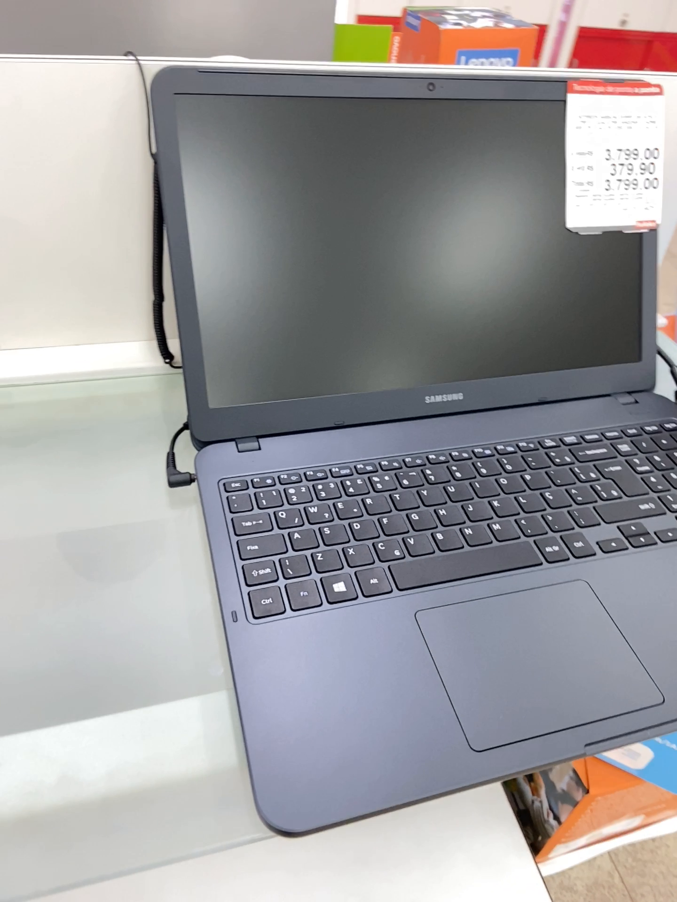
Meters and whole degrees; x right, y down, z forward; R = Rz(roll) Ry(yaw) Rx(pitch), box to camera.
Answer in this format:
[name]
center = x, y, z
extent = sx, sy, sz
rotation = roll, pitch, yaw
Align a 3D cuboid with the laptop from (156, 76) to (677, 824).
[laptop]
center = 0.107, -0.061, 0.406
extent = 0.371, 0.192, 0.370
rotation = -7, 43, -15
